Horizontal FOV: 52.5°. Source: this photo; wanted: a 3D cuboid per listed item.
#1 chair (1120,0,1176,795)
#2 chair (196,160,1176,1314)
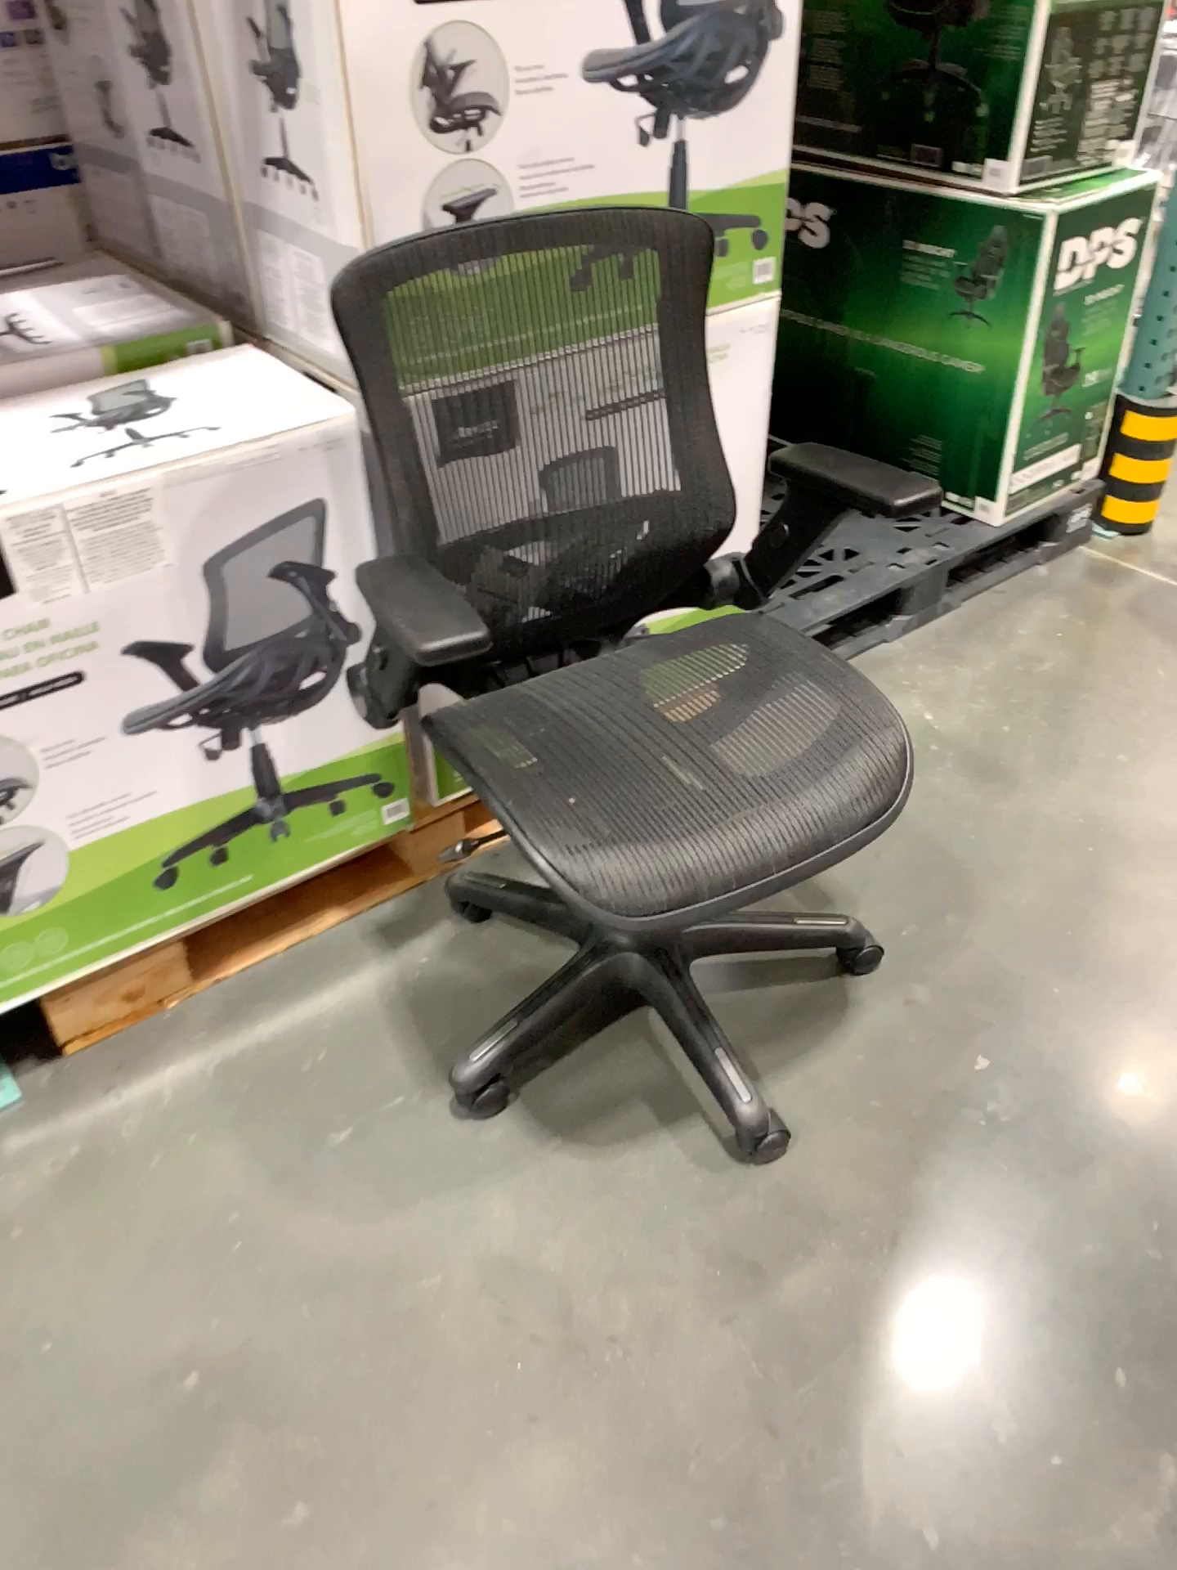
[{"bbox_3d":[1.692,-0.777,2.028,0.966,1.146,0.759,-16,40,-18],"label":"chair"},{"bbox_3d":[0.075,-0.099,1.426,0.676,0.987,0.738,-20,41,-22],"label":"chair"}]
